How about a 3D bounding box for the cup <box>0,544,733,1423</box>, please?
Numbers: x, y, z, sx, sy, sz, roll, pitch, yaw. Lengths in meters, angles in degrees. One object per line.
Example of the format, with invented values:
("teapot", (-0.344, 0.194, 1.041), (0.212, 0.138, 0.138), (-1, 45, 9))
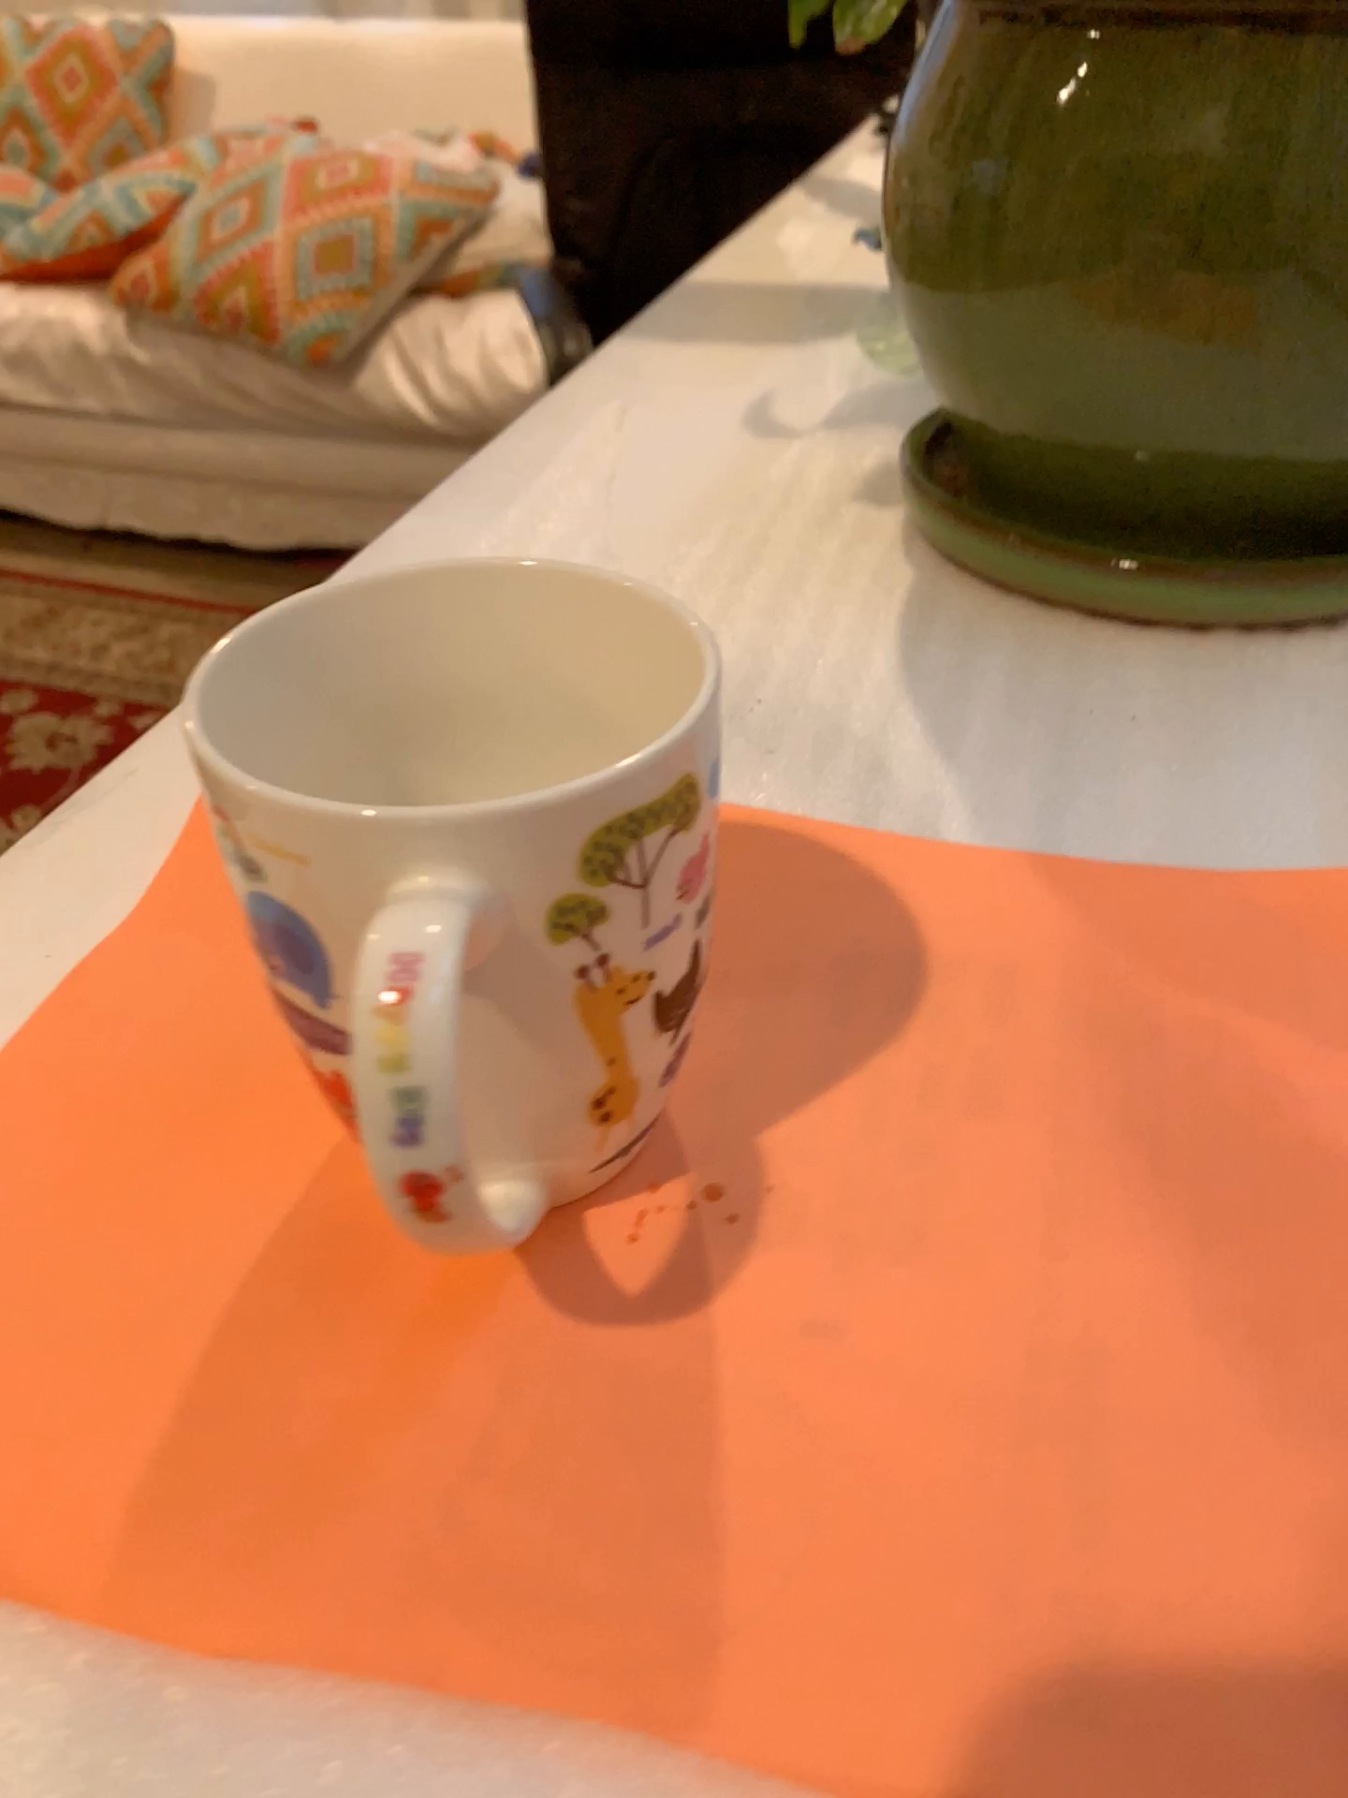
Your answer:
("cup", (-0.037, 0.008, 0.236), (0.090, 0.089, 0.121), (-1, 37, 1))
